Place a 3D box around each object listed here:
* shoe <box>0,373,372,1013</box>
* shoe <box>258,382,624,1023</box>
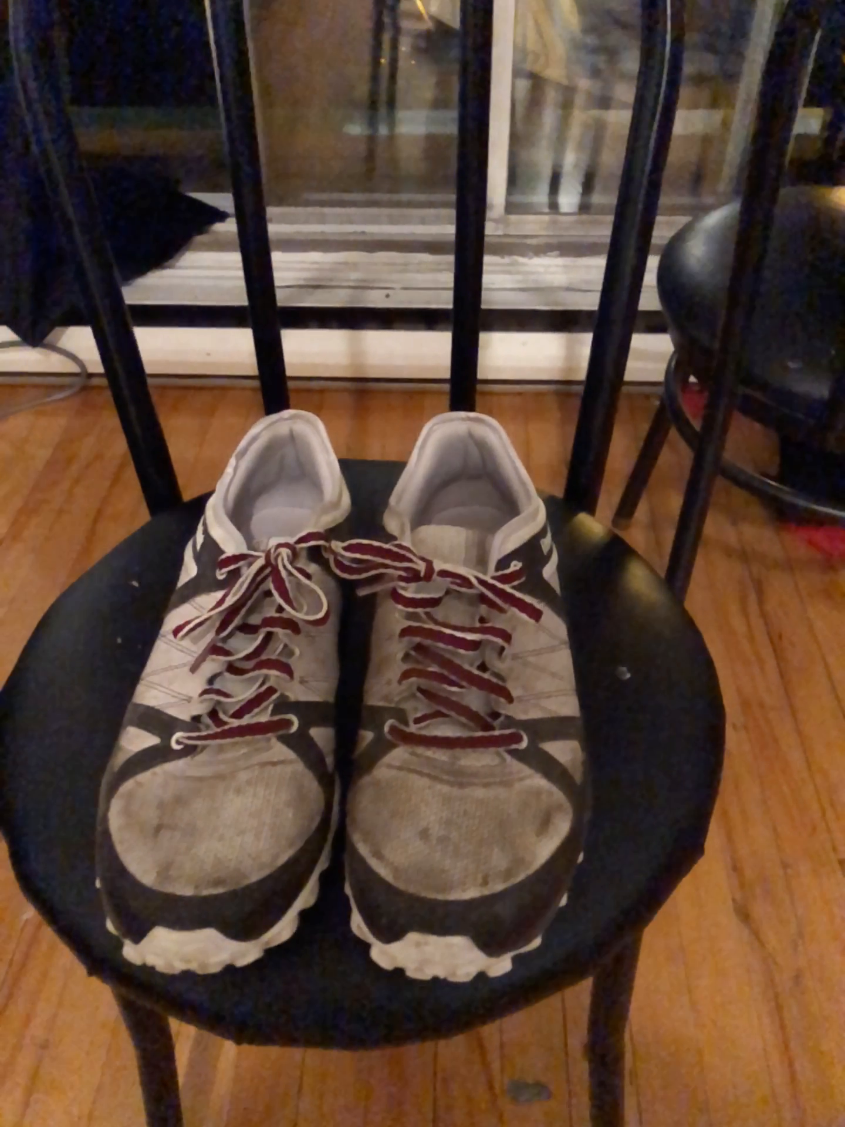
[{"bbox_3d":[-0.088,0.035,0.451,0.100,0.099,0.313,1,43,2],"label":"shoe"},{"bbox_3d":[0.011,0.039,0.453,0.120,0.099,0.313,1,43,2],"label":"shoe"}]
